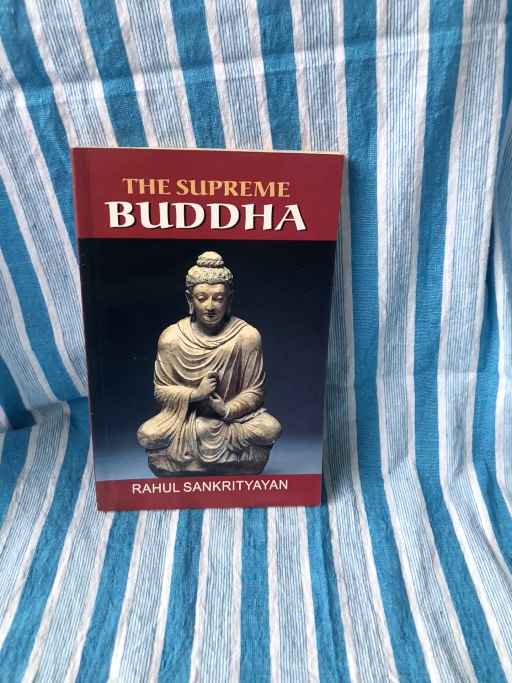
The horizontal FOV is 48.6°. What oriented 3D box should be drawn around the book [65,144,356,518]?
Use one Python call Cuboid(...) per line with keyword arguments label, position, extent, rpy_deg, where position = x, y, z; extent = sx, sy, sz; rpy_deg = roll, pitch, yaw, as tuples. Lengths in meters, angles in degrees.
Cuboid(label="book", position=(-0.025, 0.002, 0.336), extent=(0.150, 0.219, 0.020), rpy_deg=(0, 17, -4))
